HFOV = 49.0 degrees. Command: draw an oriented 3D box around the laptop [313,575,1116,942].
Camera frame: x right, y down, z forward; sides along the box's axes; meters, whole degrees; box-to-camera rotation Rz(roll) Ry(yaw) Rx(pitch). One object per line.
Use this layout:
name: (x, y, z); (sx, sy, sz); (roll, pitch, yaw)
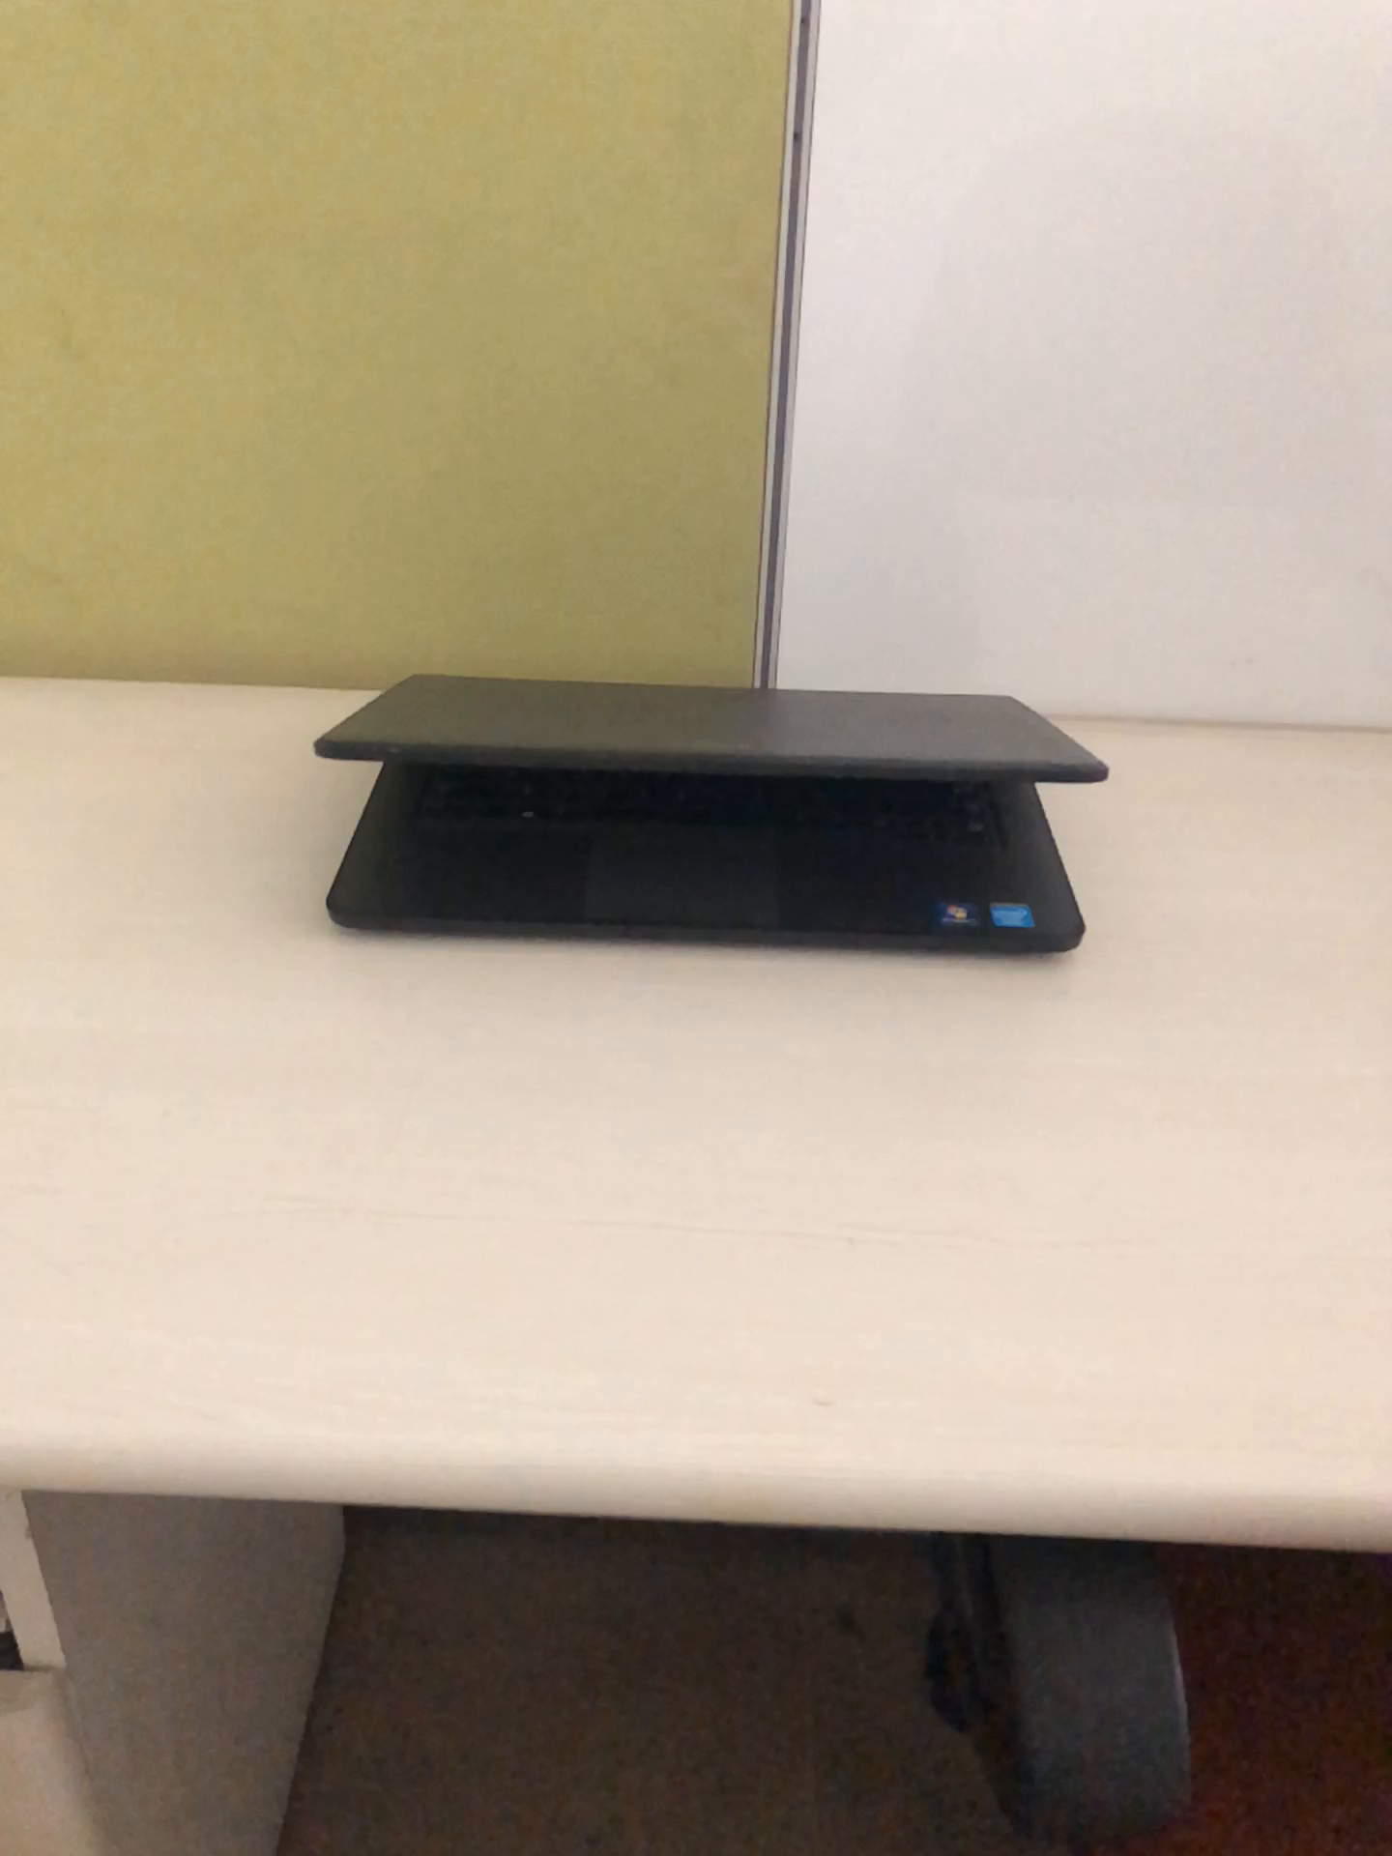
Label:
laptop: (0.008, -0.090, 0.728); (0.322, 0.072, 0.230); (2, 31, 0)
